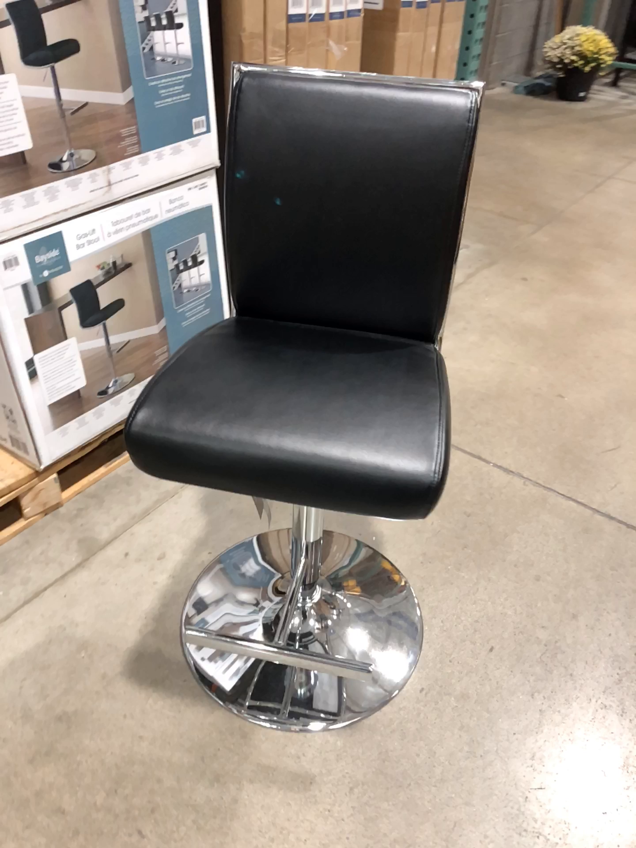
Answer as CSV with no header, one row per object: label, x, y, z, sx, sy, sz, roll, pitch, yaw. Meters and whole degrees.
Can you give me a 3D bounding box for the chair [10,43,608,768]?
chair,-0.003,-0.009,1.108,0.530,0.946,0.542,8,36,5
